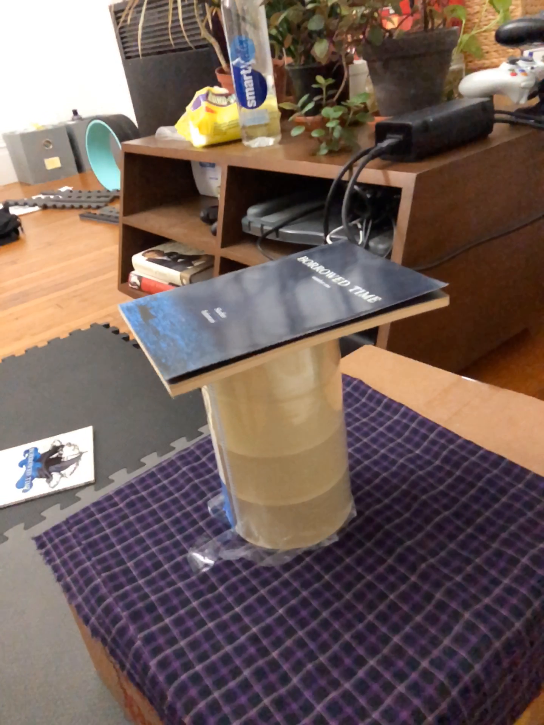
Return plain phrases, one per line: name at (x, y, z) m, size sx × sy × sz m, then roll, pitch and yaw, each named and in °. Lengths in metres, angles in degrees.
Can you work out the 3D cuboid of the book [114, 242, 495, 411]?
book at (0.016, -0.041, 0.435) m, size 0.230 × 0.010 × 0.161 m, roll -17°, pitch 30°, yaw -19°
